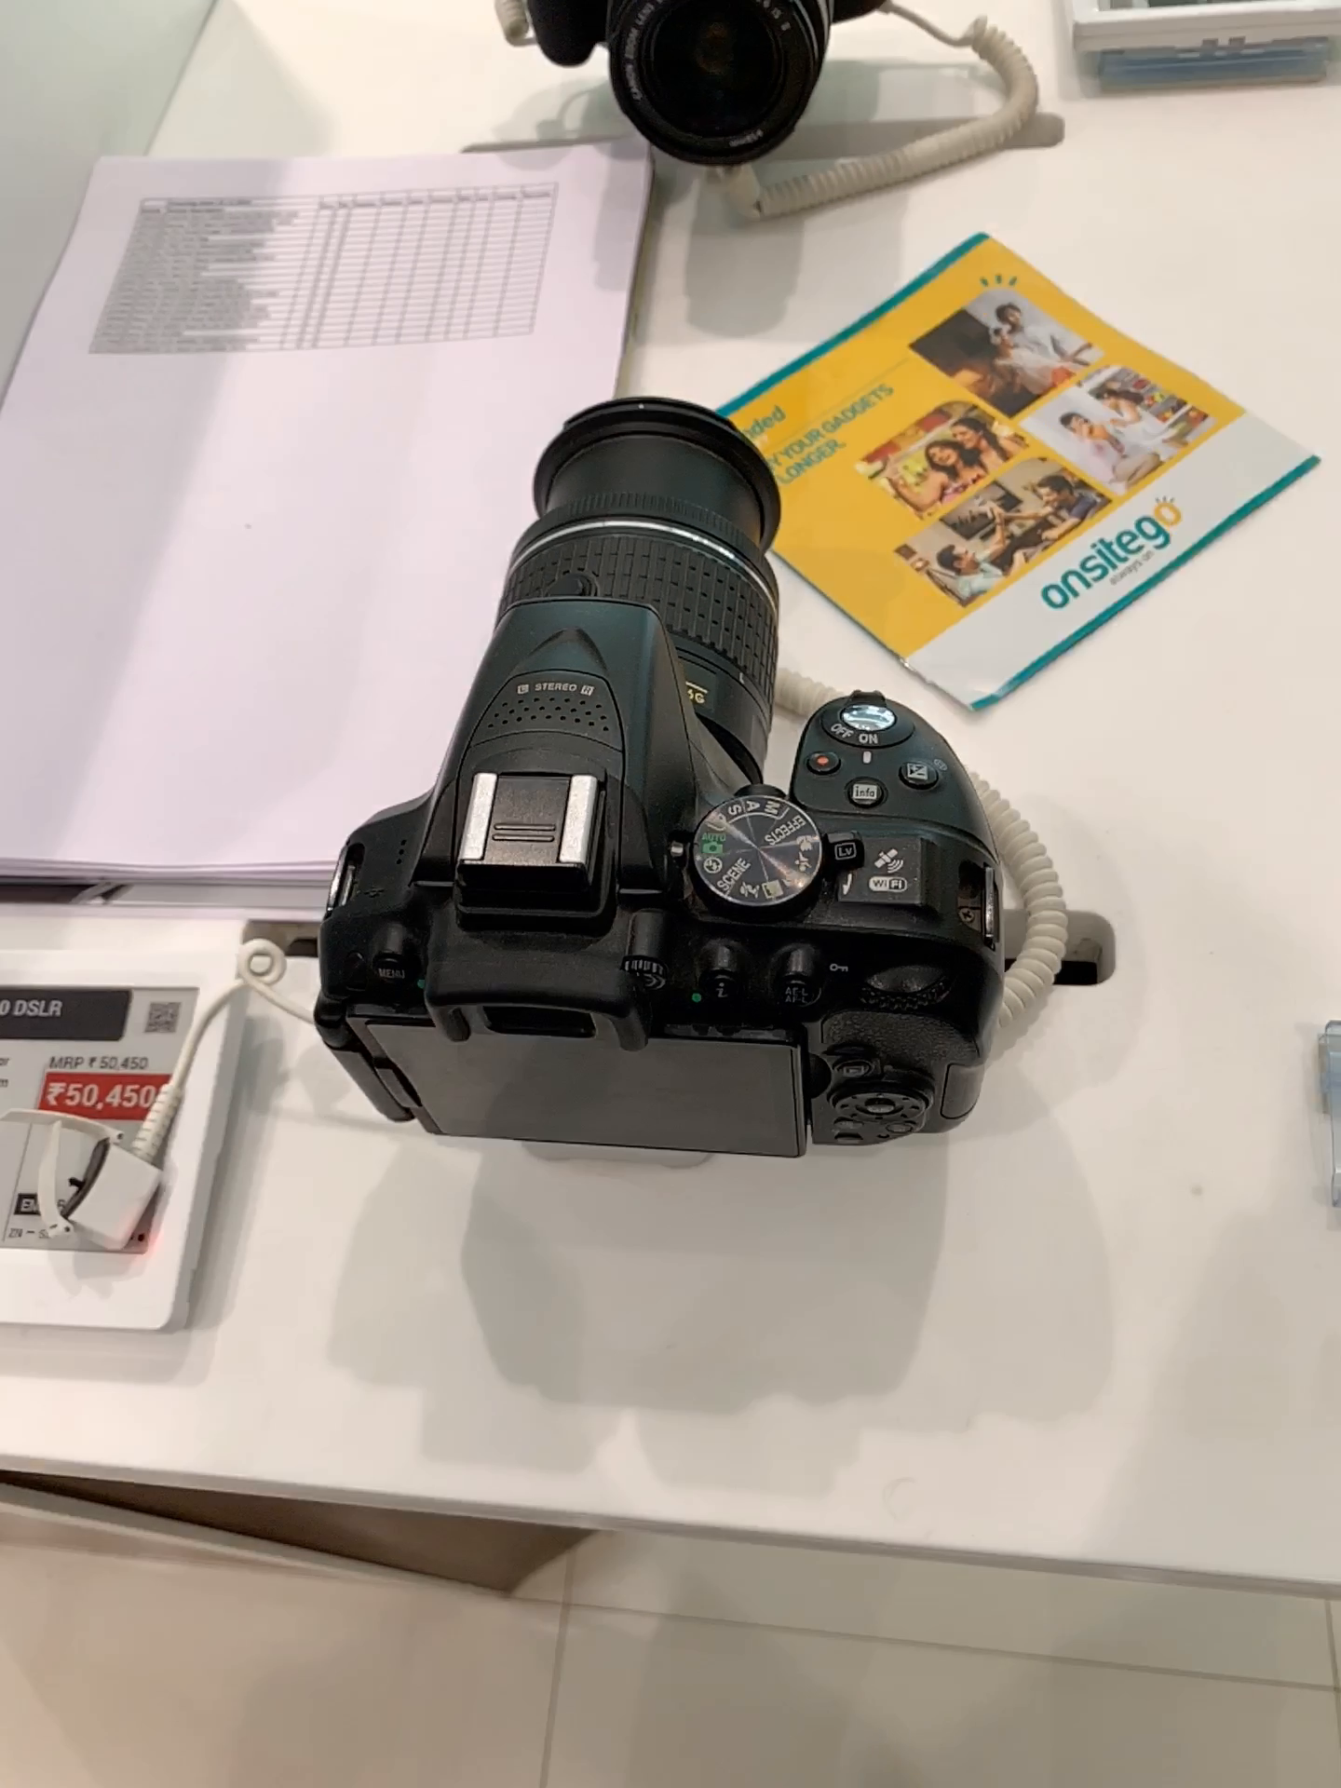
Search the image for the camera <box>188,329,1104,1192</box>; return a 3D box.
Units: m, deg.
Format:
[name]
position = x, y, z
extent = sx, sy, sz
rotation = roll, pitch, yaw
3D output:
[camera]
position = 0.006, -0.020, 0.244
extent = 0.118, 0.100, 0.107
rotation = 3, 60, 9
